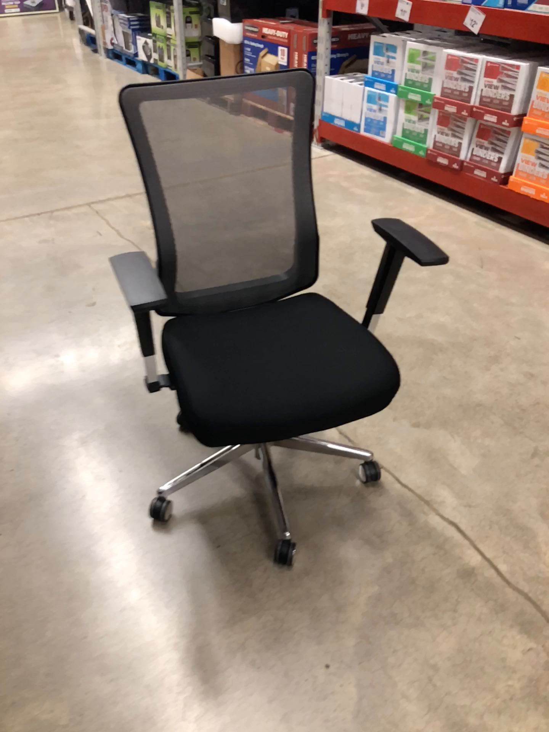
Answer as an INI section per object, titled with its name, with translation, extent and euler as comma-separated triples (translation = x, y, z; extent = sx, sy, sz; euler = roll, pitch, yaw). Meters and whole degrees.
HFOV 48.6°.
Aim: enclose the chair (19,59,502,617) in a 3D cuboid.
[chair]
translation = -0.072, -0.119, 1.473
extent = 0.690, 0.987, 0.712
euler = -18, 39, -23
